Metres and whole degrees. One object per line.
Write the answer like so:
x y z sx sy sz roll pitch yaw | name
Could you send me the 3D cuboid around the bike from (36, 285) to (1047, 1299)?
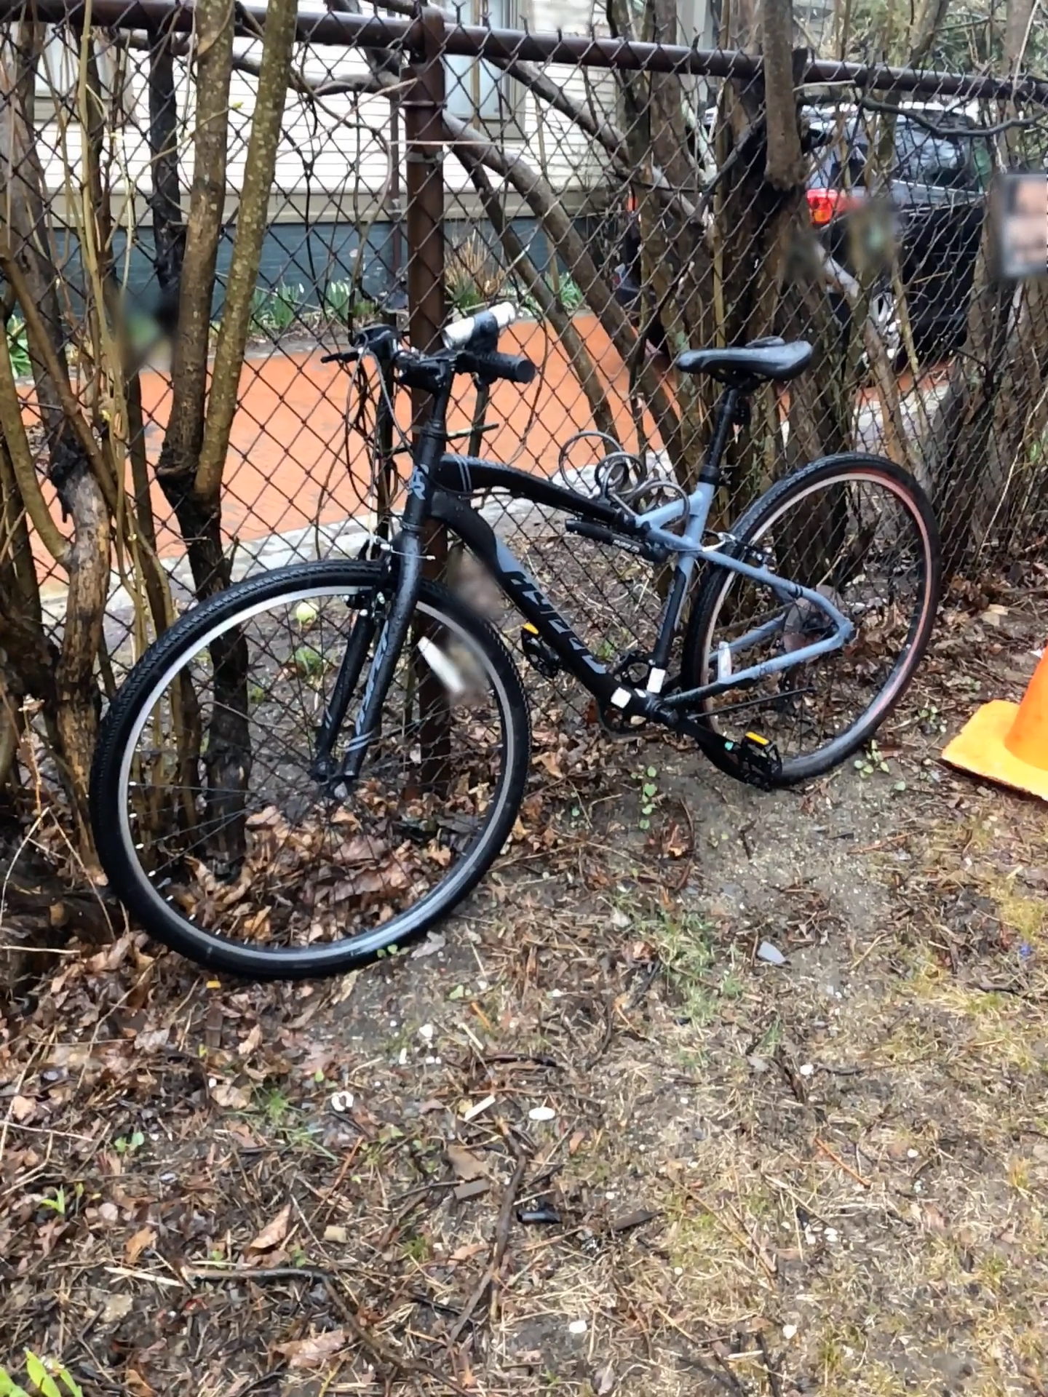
0.218 -0.019 2.086 1.888 1.067 0.538 -20 32 -29 | bike
